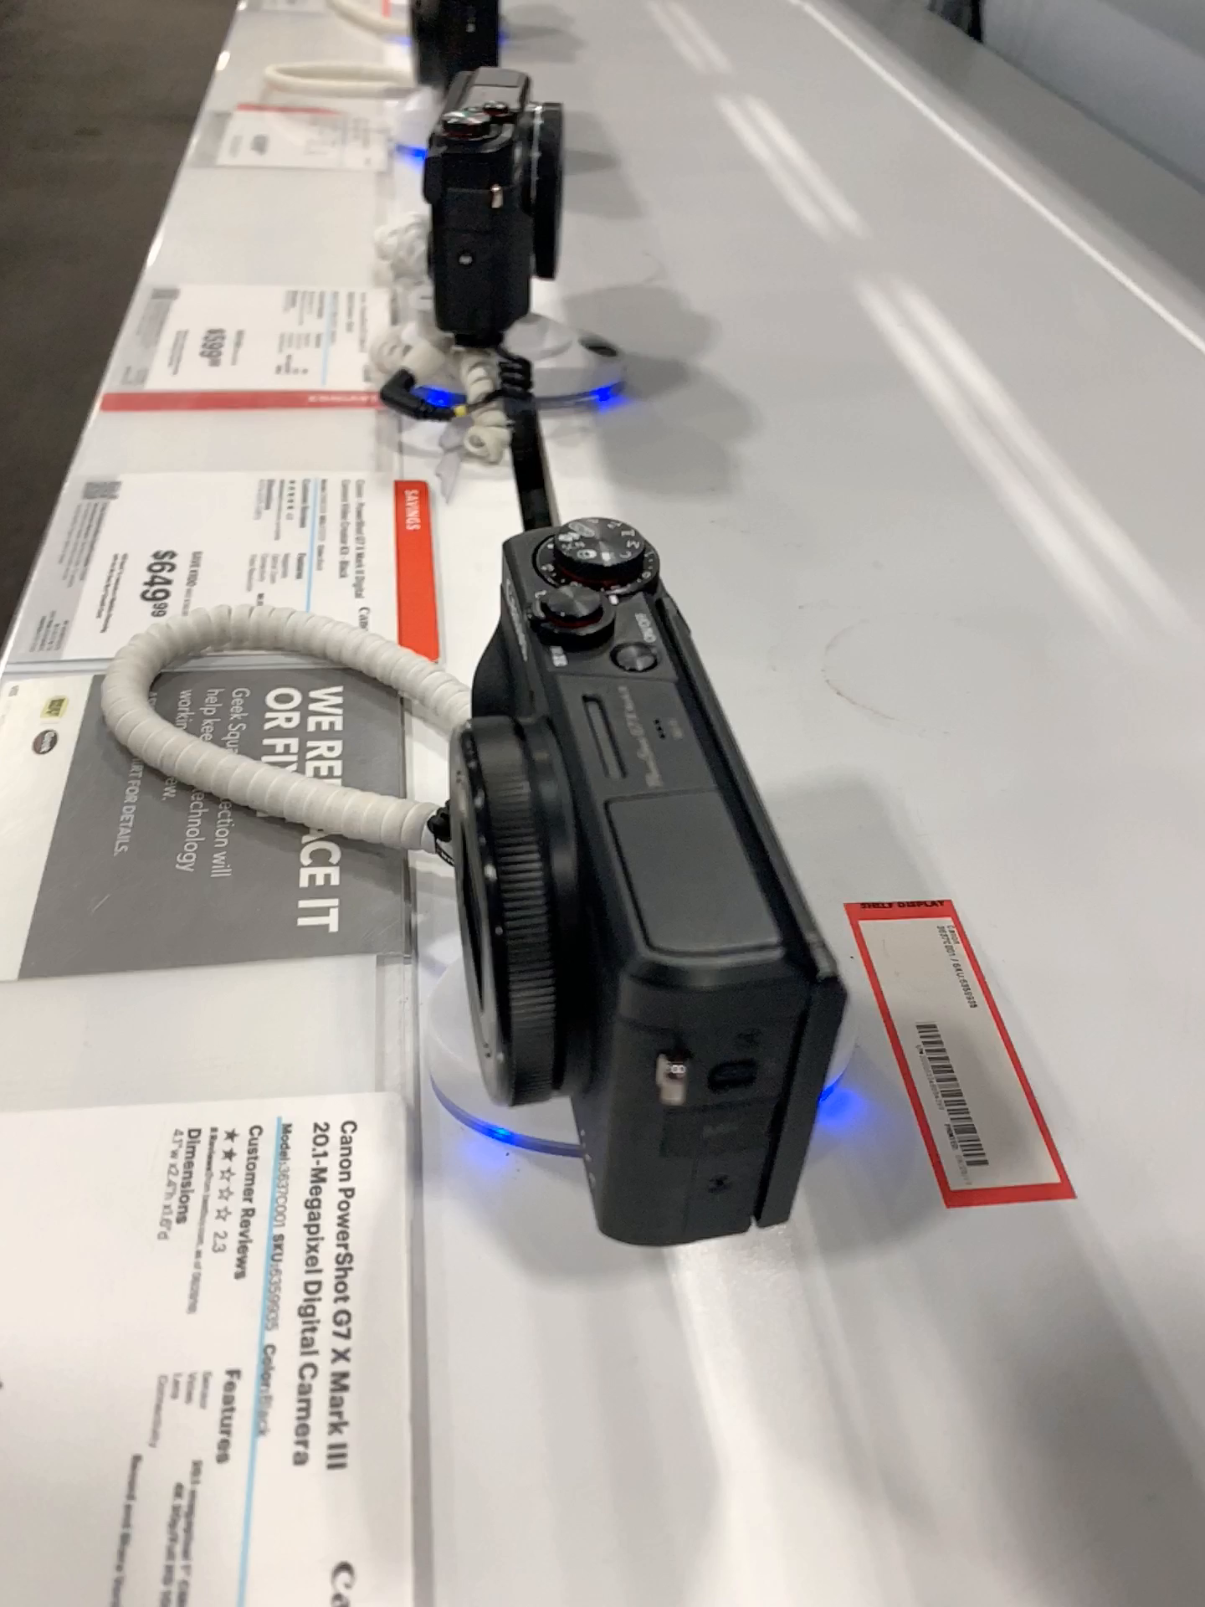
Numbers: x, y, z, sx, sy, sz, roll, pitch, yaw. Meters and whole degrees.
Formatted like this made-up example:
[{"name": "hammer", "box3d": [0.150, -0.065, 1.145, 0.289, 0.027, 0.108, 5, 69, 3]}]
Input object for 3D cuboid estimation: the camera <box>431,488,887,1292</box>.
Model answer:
[{"name": "camera", "box3d": [-0.001, 0.007, 0.196, 0.040, 0.062, 0.111, -5, 44, -11]}]
